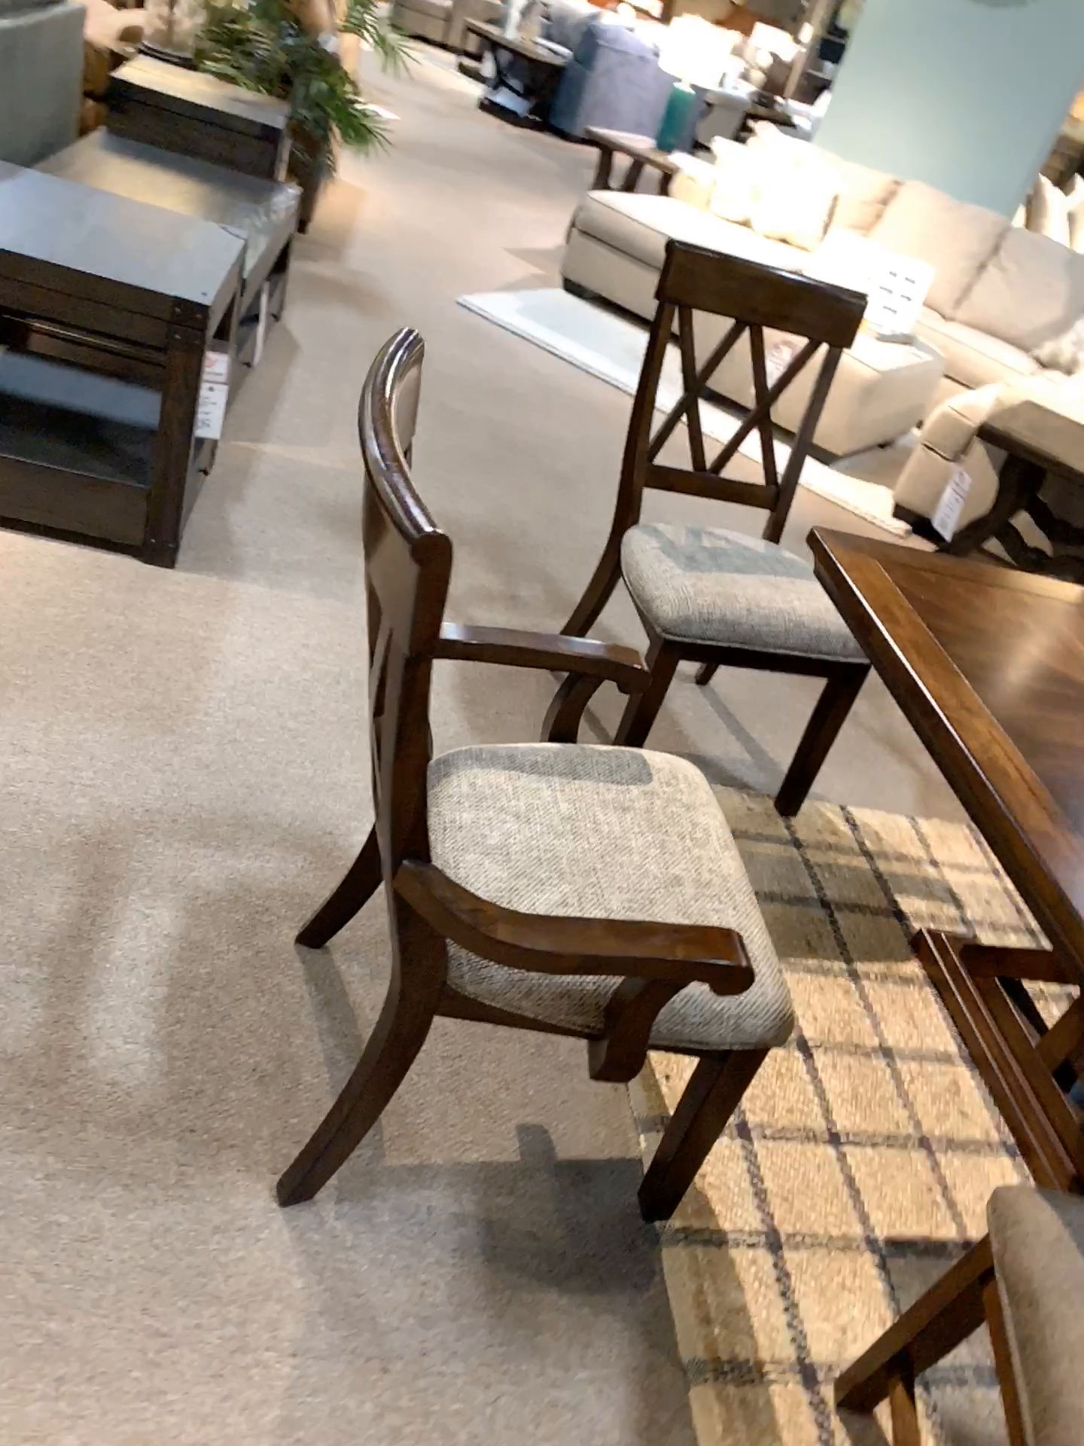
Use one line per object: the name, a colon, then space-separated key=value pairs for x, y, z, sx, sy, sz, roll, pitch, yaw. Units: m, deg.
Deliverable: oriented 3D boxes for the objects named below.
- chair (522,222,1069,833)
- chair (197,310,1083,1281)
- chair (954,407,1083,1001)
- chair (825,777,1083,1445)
chair: x=0.399 y=-0.357 z=2.168 sx=0.505 sy=0.916 sz=0.647 roll=6 pitch=36 yaw=-21
chair: x=0.031 y=0.130 z=1.291 sx=0.654 sy=0.897 sz=0.548 roll=11 pitch=34 yaw=-14
chair: x=1.378 y=-0.025 z=2.212 sx=0.465 sy=0.916 sz=0.647 roll=11 pitch=34 yaw=-14
chair: x=0.679 y=0.661 z=0.838 sx=0.505 sy=0.936 sz=0.647 roll=17 pitch=33 yaw=-3
